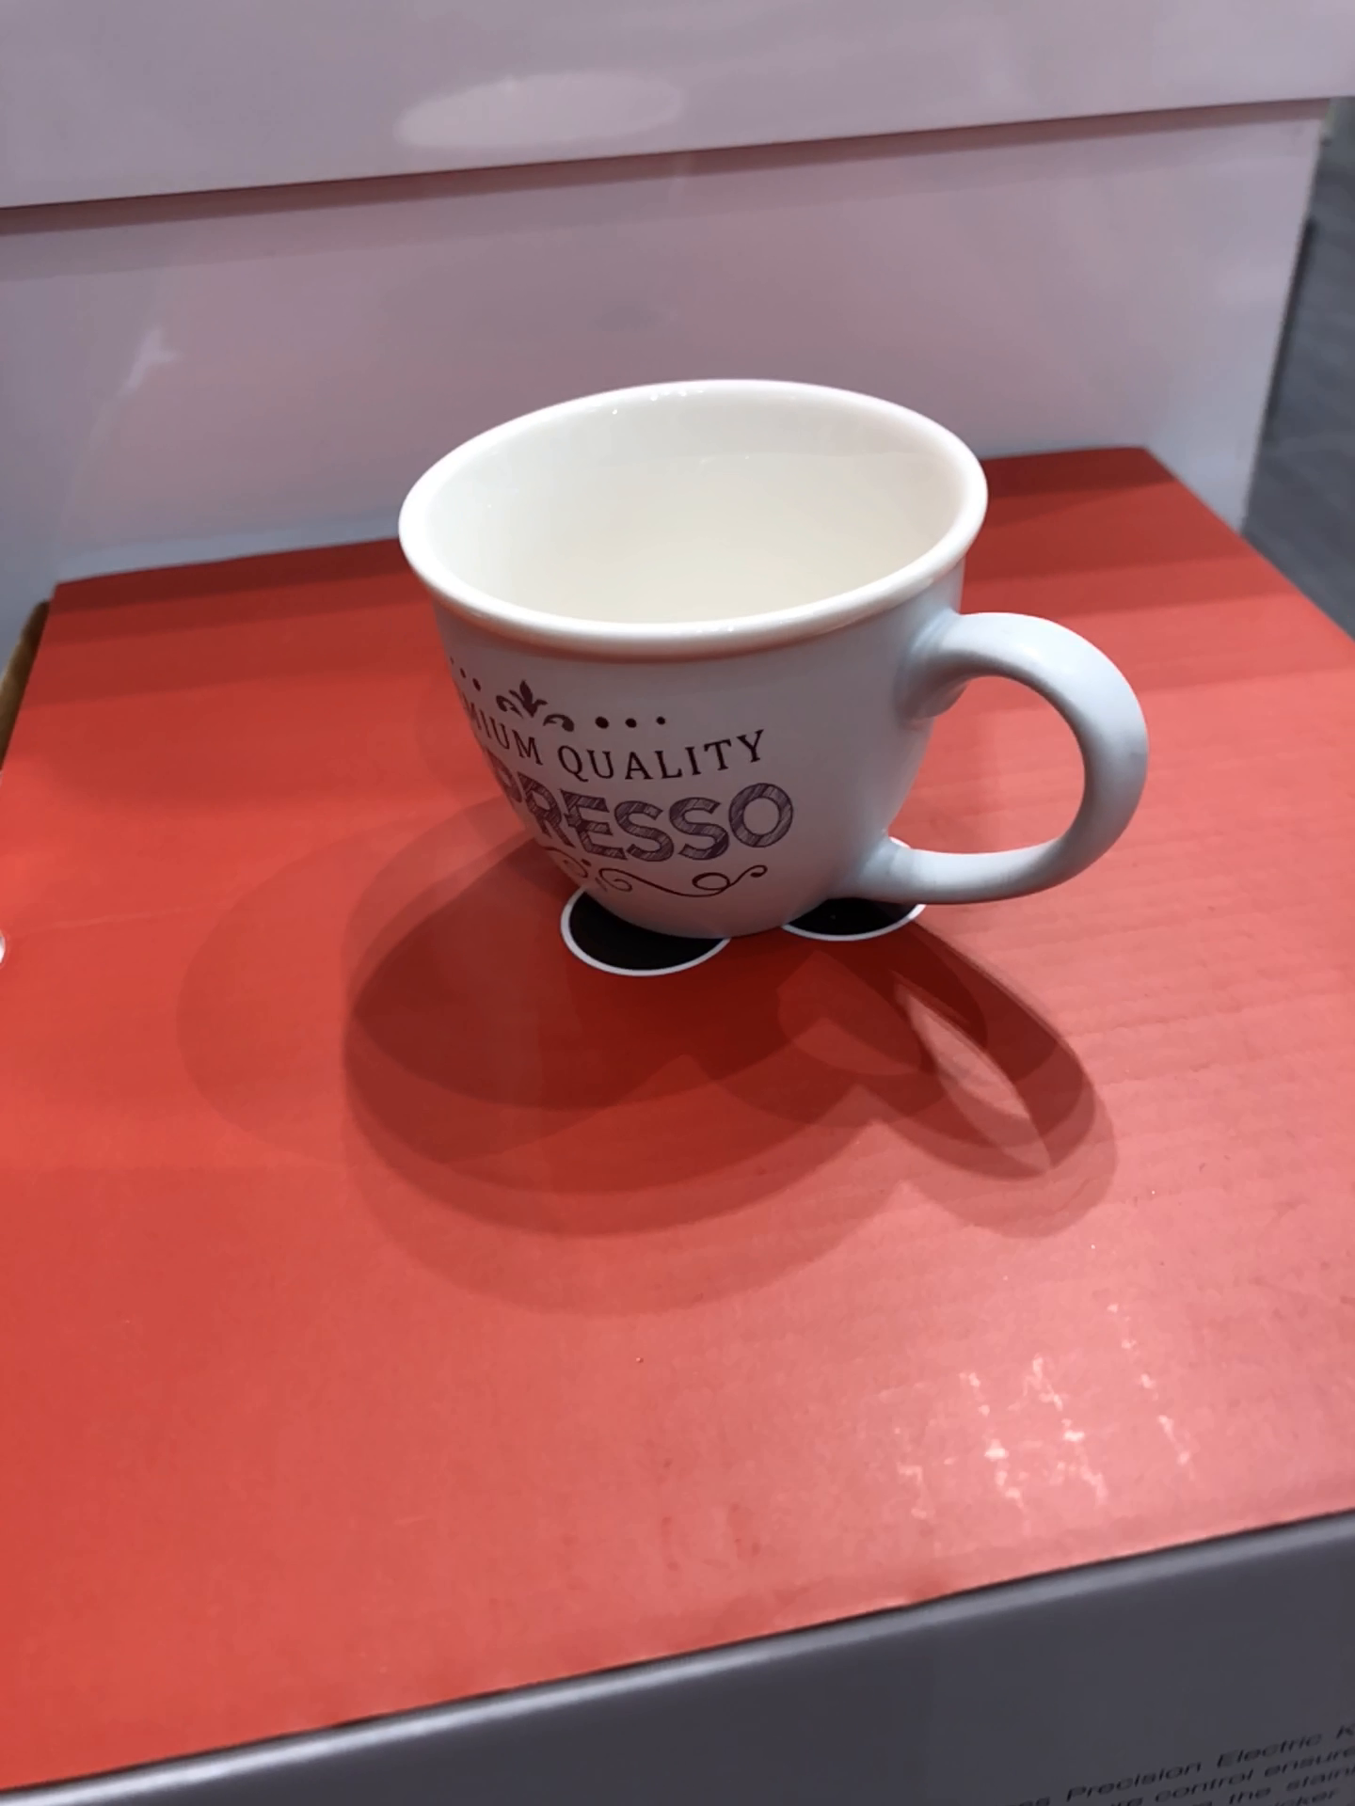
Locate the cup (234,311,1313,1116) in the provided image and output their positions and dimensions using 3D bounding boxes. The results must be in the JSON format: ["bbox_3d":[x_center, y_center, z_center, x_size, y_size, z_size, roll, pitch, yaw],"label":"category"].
[{"bbox_3d":[0.012,-0.032,0.183,0.090,0.040,0.080,26,46,31],"label":"cup"}]
